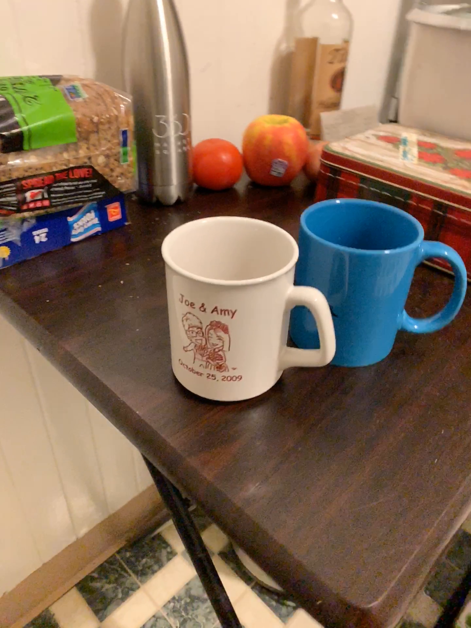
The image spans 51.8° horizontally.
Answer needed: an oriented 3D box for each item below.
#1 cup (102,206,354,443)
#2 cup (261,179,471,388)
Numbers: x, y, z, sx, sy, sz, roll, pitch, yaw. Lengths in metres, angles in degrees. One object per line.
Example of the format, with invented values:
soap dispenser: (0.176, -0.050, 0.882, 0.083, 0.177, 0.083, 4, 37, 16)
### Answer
cup: (0.001, 0.002, 0.315, 0.130, 0.099, 0.090, 9, 37, 10)
cup: (0.098, -0.026, 0.351, 0.140, 0.099, 0.090, 8, 36, 9)
